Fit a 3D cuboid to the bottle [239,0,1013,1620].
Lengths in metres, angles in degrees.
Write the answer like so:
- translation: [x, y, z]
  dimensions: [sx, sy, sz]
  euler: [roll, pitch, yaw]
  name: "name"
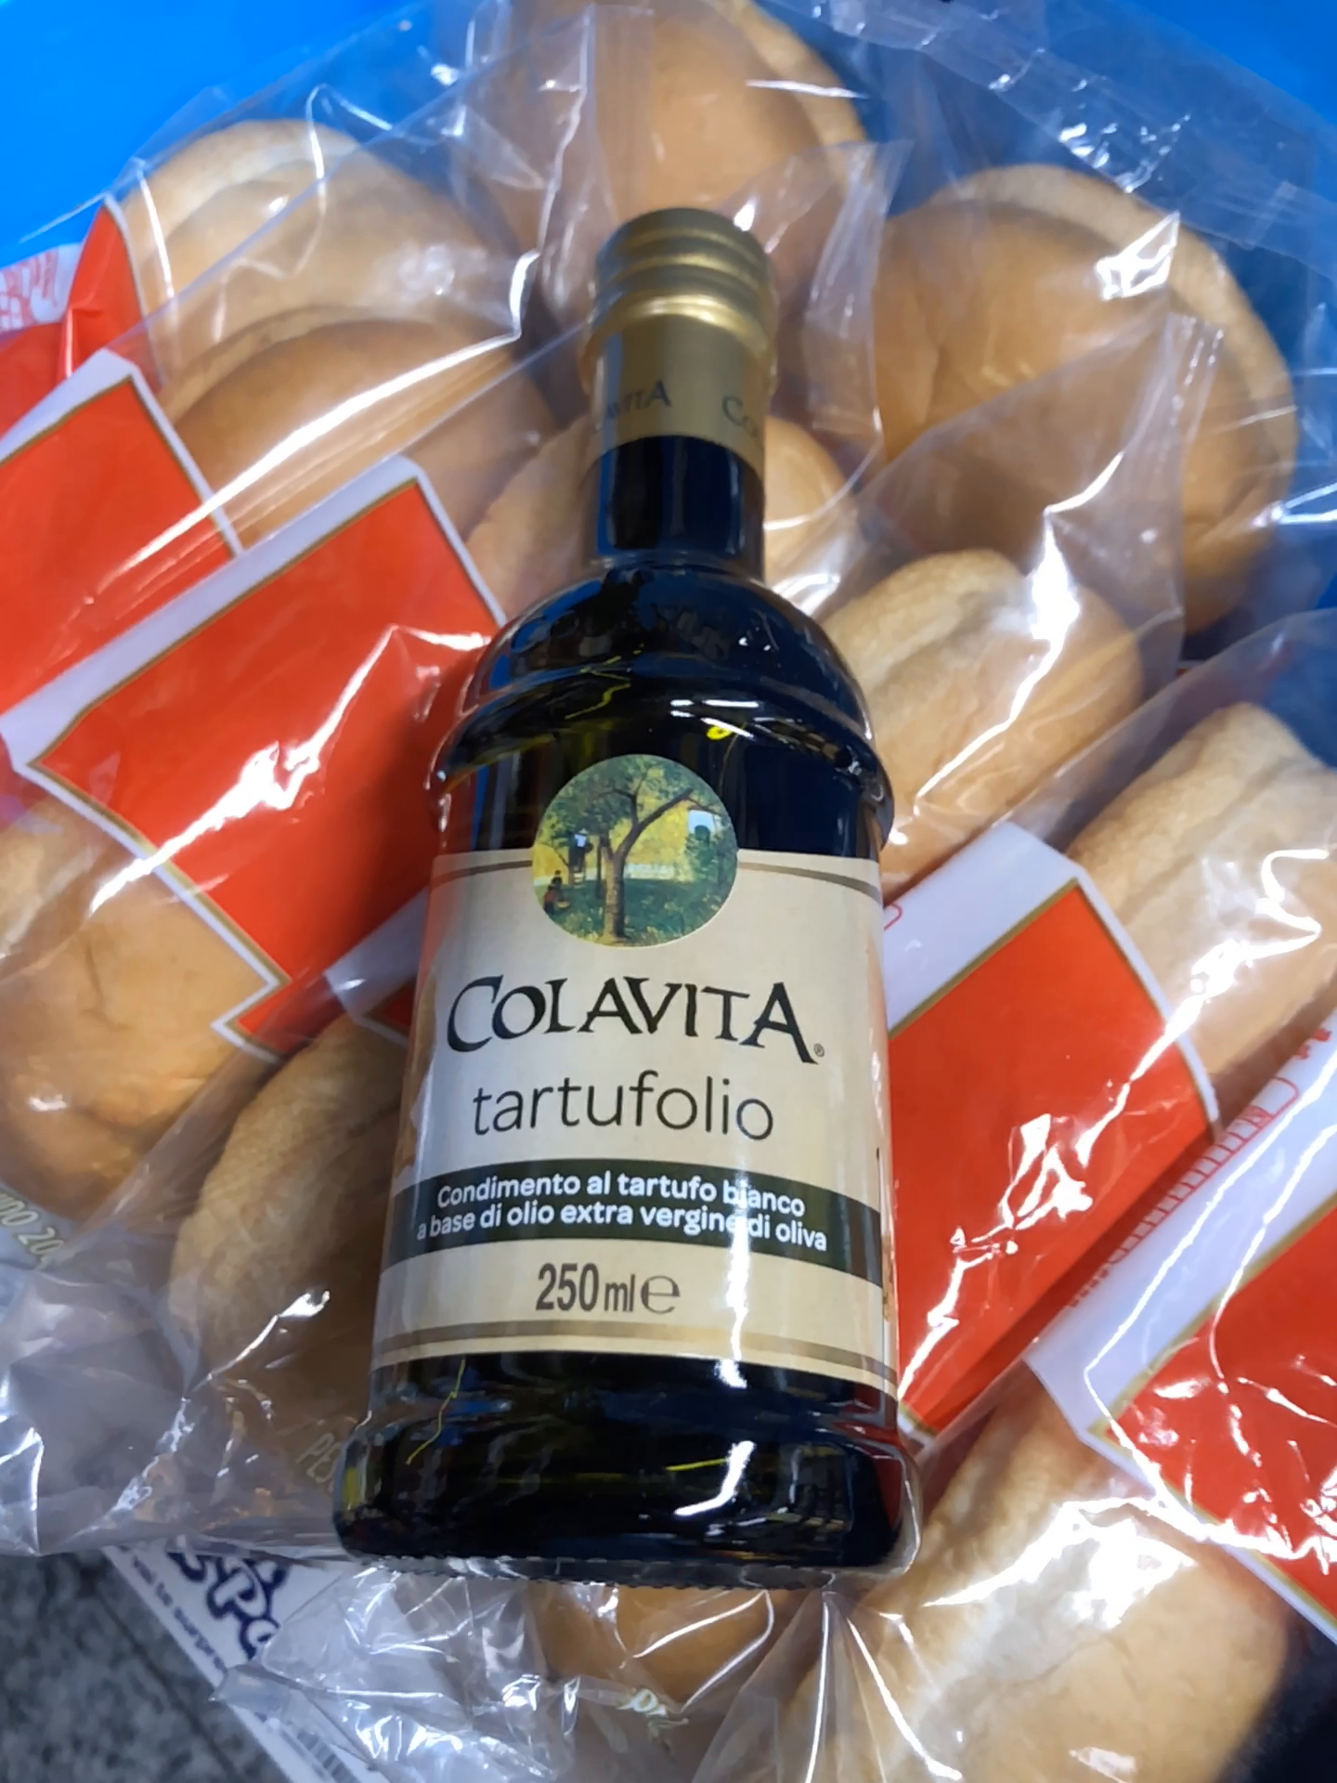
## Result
- translation: [0.000, -0.021, 0.204]
  dimensions: [0.070, 0.060, 0.210]
  euler: [-1, 67, 5]
  name: "bottle"
